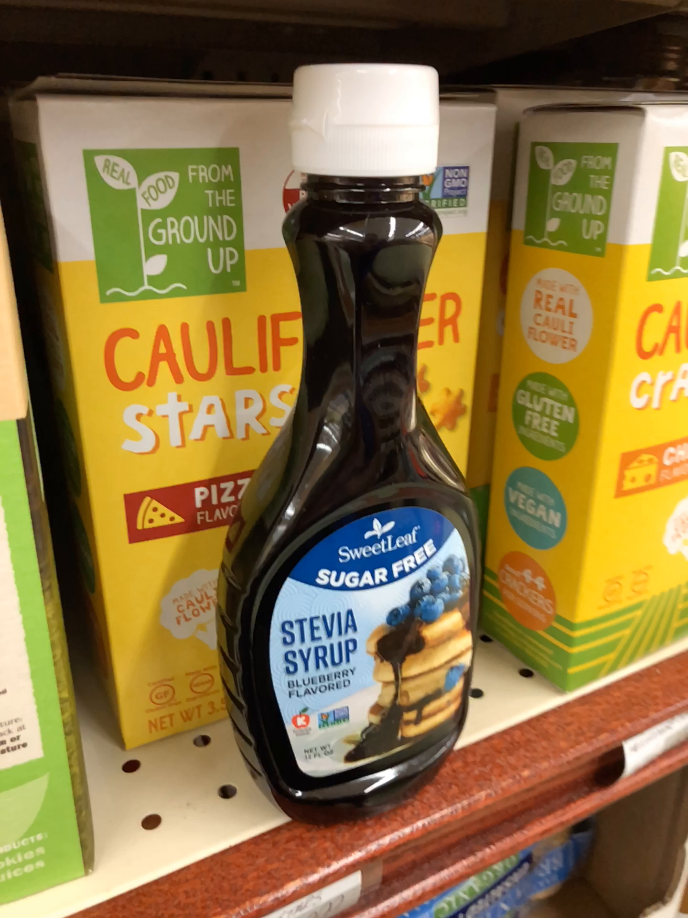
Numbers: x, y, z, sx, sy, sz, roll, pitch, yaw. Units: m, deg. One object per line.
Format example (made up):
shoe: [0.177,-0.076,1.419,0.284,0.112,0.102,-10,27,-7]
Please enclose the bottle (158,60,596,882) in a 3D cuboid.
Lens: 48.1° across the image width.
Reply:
bottle: [0.003,0.009,0.206,0.080,0.199,0.050,-9,26,-24]
